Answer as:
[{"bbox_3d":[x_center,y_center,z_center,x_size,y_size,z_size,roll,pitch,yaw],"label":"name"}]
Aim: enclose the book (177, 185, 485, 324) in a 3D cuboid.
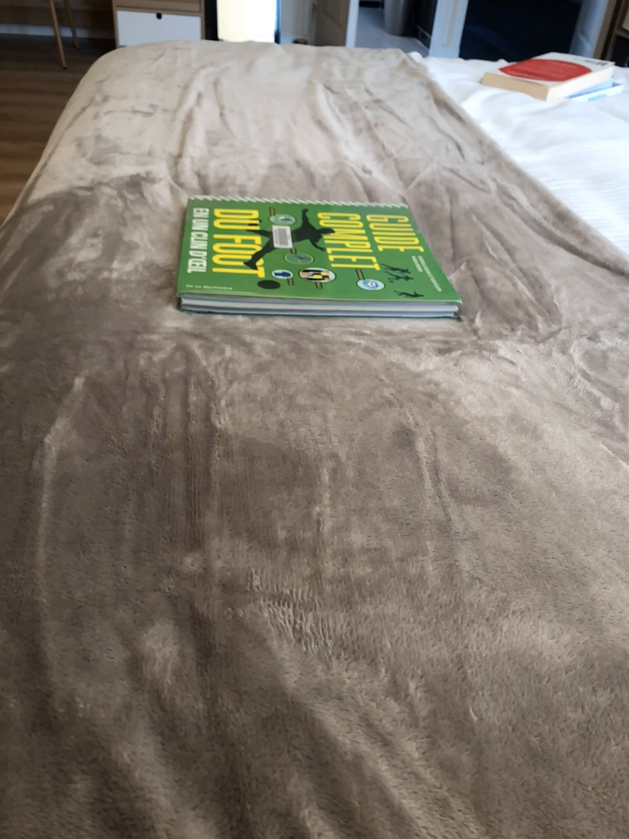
[{"bbox_3d":[0.004,-0.155,0.626,0.238,0.018,0.229,0,39,-8],"label":"book"}]
